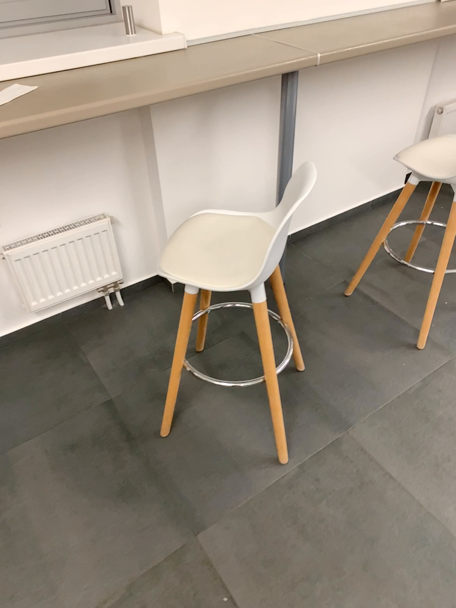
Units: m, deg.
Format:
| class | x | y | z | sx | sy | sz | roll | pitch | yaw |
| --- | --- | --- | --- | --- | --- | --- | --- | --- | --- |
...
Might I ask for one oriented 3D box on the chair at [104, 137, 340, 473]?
| class | x | y | z | sx | sy | sz | roll | pitch | yaw |
| --- | --- | --- | --- | --- | --- | --- | --- | --- | --- |
| chair | 0.027 | 0.026 | 1.452 | 0.480 | 0.885 | 0.483 | 9 | 42 | 12 |
